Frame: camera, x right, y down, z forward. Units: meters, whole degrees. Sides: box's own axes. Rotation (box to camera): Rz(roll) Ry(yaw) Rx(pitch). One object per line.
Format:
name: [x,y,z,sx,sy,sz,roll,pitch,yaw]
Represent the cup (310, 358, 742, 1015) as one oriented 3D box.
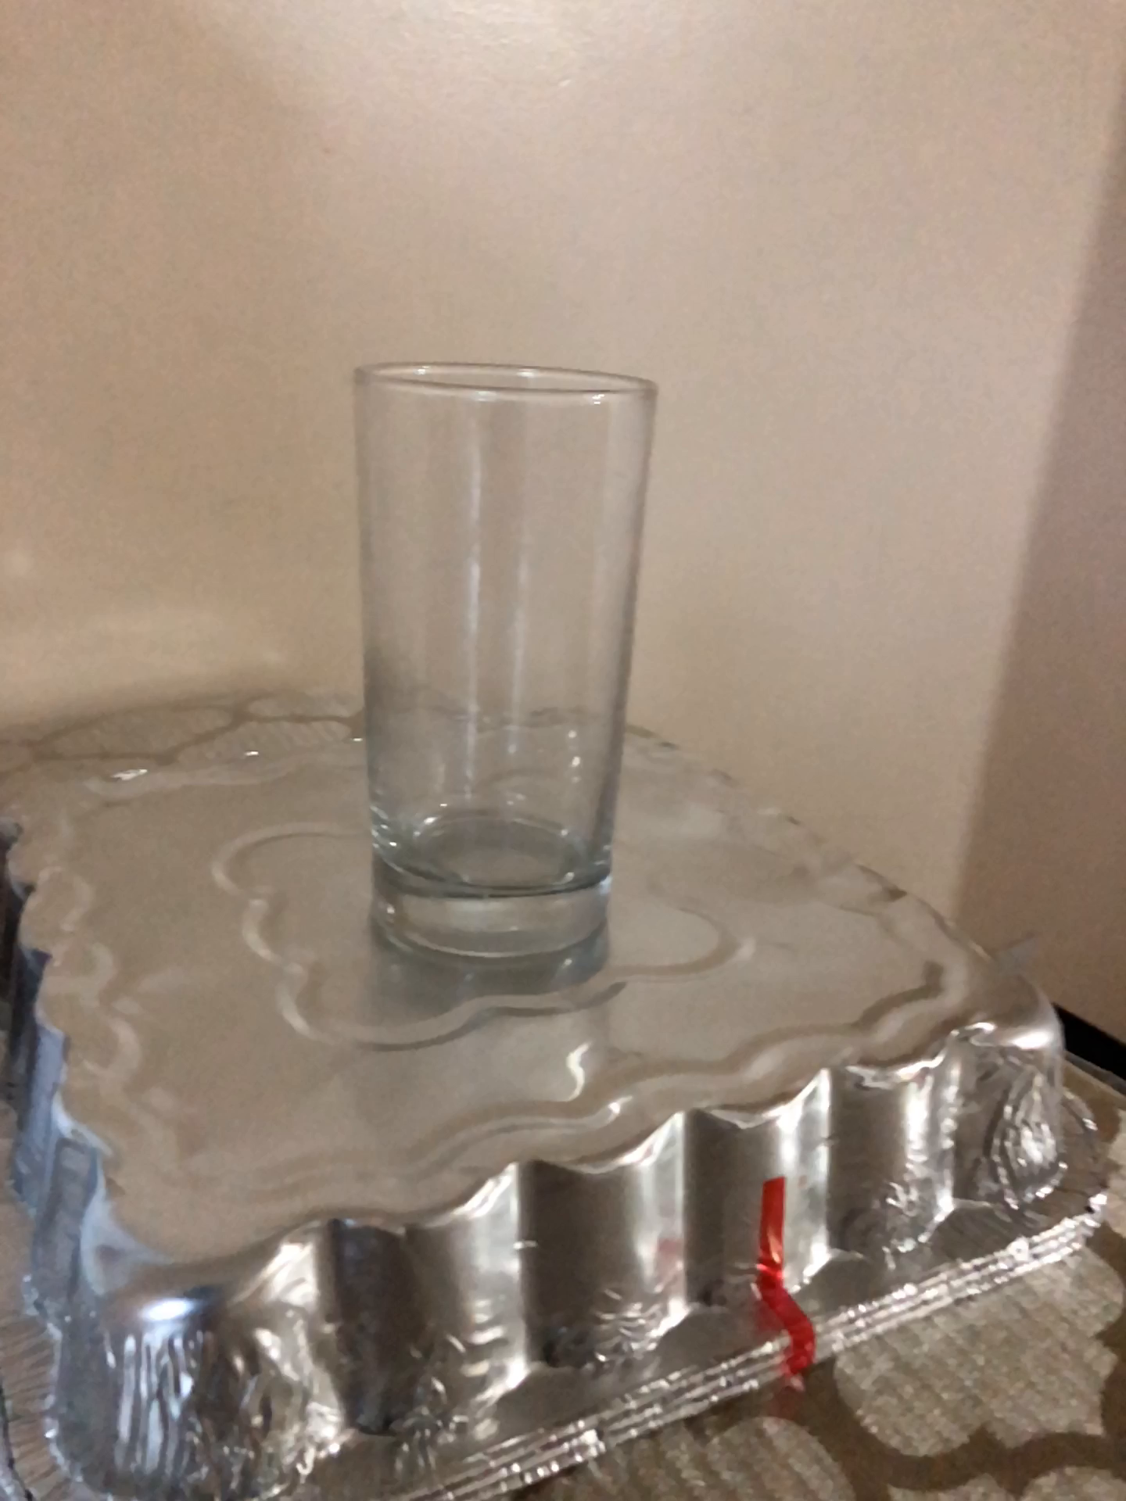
cup: [-0.010,-0.019,0.269,0.060,0.120,0.060,4,20,-2]
